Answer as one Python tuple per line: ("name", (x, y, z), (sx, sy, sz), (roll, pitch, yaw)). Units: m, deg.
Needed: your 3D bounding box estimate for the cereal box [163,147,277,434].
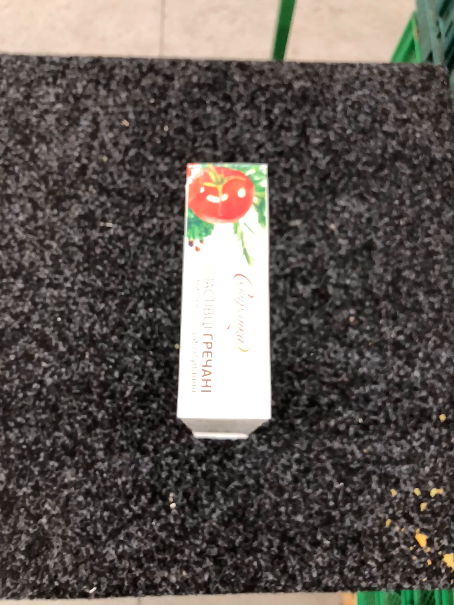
("cereal box", (-0.005, 0.016, 0.405), (0.060, 0.239, 0.160), (1, 73, -1))
